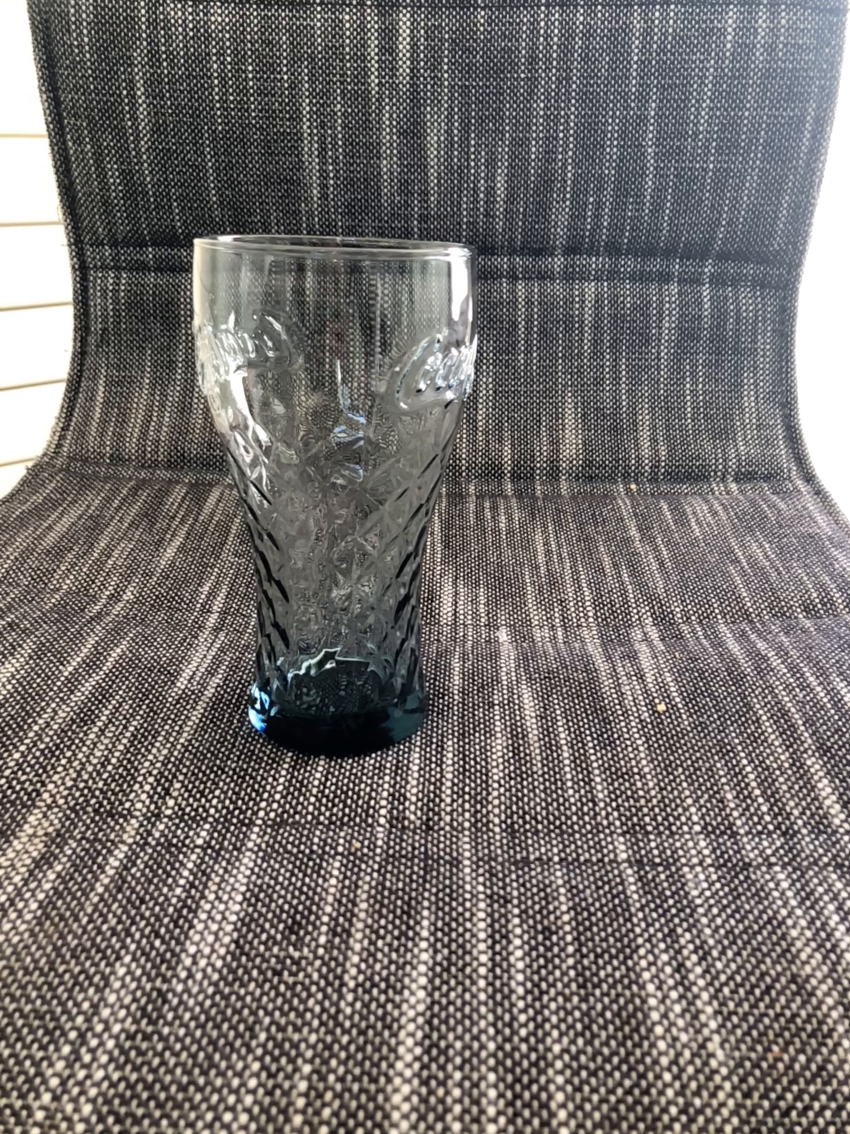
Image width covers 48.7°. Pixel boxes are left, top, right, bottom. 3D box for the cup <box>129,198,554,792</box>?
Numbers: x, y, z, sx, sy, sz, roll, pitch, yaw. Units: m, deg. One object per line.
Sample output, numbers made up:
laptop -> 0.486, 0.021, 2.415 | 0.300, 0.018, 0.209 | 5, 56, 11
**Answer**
cup -> -0.024, -0.027, 0.271 | 0.080, 0.139, 0.080 | 4, 19, -1
